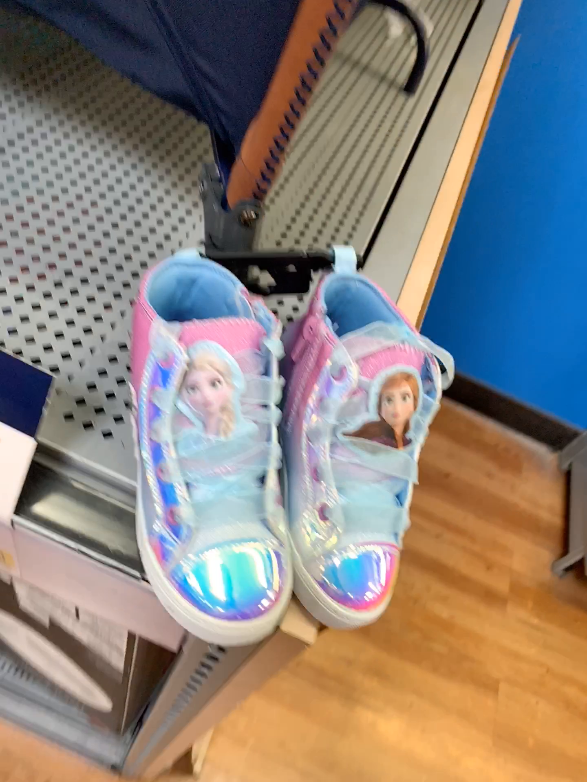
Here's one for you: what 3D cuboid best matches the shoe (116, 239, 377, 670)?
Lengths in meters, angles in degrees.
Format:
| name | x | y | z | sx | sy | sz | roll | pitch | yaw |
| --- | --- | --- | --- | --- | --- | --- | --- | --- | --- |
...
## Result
| name | x | y | z | sx | sy | sz | roll | pitch | yaw |
| --- | --- | --- | --- | --- | --- | --- | --- | --- | --- |
| shoe | -0.040 | 0.026 | 0.309 | 0.079 | 0.102 | 0.183 | -3 | 56 | -21 |

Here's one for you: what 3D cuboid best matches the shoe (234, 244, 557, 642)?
| name | x | y | z | sx | sy | sz | roll | pitch | yaw |
| --- | --- | --- | --- | --- | --- | --- | --- | --- | --- |
| shoe | 0.039 | 0.025 | 0.339 | 0.089 | 0.102 | 0.183 | 2 | 55 | -25 |
